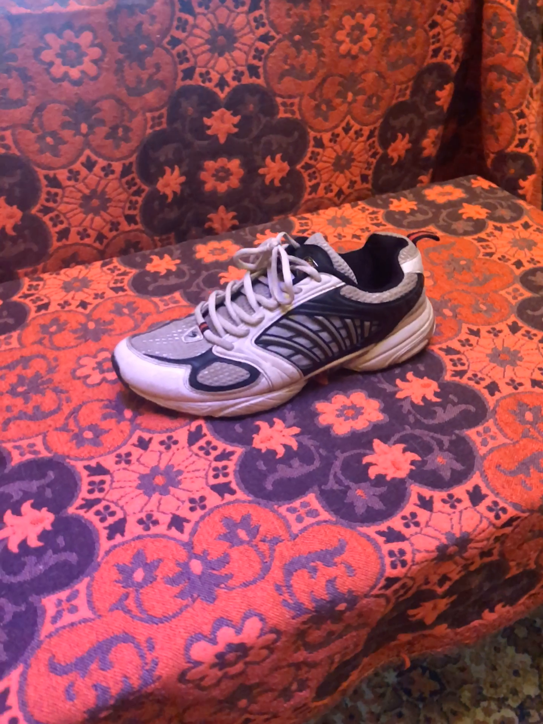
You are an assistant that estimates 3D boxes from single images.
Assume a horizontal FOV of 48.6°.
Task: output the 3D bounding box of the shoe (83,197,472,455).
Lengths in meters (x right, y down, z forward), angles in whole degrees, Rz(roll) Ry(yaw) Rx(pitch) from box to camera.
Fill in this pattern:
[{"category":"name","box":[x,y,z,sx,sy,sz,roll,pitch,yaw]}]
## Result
[{"category":"shoe","box":[0.007,-0.044,0.532,0.300,0.109,0.120,-17,41,-18]}]
